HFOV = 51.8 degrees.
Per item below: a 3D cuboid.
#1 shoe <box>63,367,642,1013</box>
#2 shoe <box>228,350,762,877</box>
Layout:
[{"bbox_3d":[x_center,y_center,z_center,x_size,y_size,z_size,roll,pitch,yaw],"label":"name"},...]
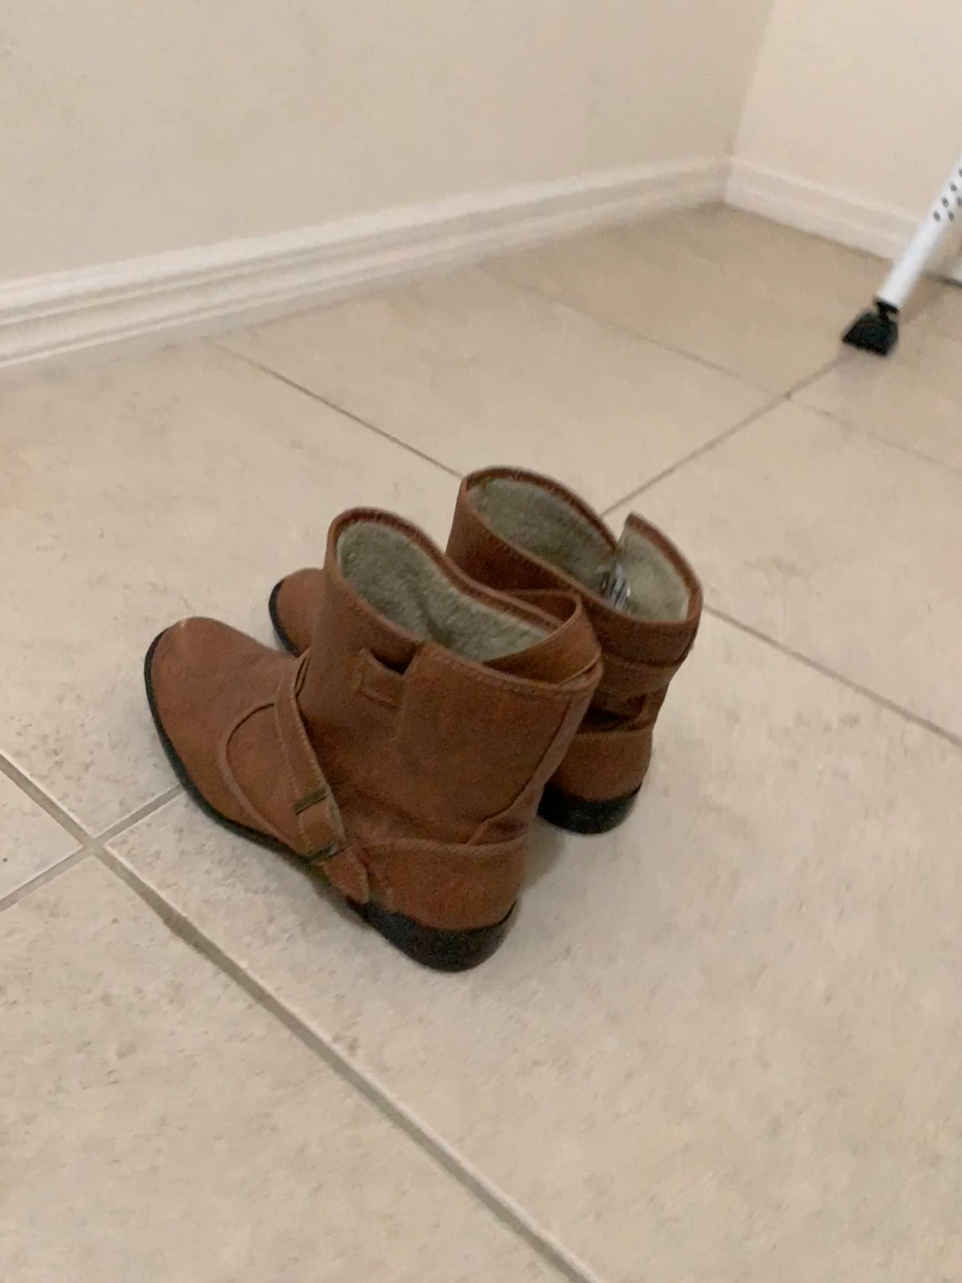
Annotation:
[{"bbox_3d":[-0.075,0.015,0.475,0.247,0.192,0.095,32,41,24],"label":"shoe"},{"bbox_3d":[-0.008,-0.025,0.559,0.260,0.172,0.108,29,40,21],"label":"shoe"}]
